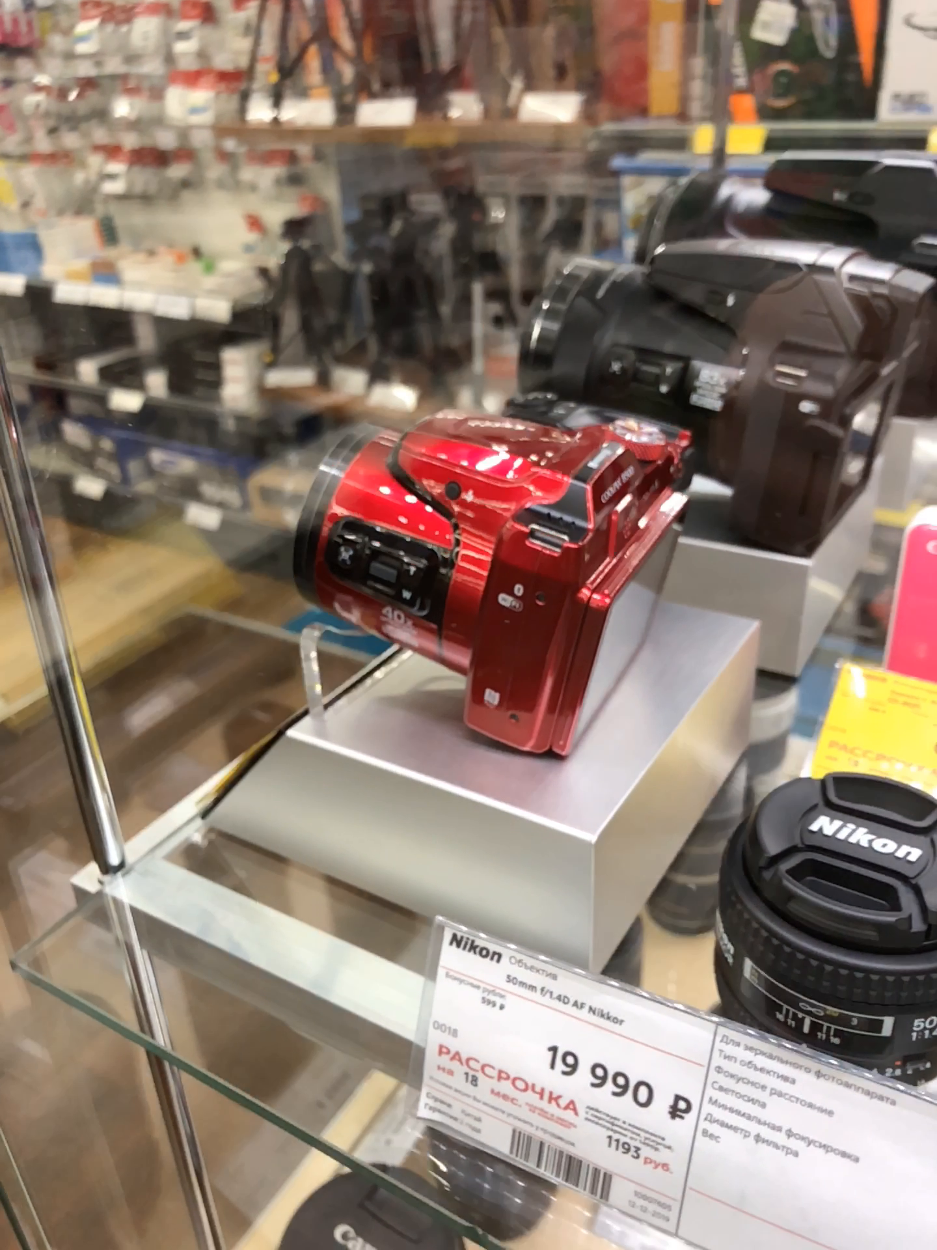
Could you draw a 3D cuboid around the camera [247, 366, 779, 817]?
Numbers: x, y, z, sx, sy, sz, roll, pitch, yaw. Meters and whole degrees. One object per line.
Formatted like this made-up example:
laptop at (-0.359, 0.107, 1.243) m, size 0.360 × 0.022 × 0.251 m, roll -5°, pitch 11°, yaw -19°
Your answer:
camera at (0.019, -0.022, 0.326) m, size 0.110 × 0.076 × 0.121 m, roll 15°, pitch 33°, yaw 29°
